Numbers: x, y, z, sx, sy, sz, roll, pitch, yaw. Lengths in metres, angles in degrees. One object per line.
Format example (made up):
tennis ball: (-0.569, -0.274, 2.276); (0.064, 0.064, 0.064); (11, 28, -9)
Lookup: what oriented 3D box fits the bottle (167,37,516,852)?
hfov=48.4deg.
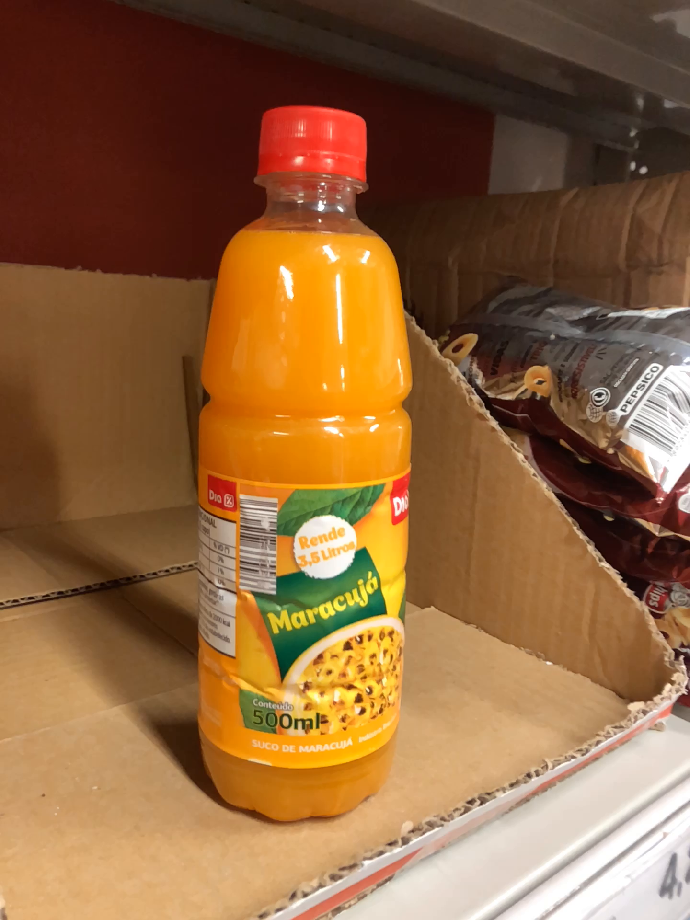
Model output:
bottle: (-0.009, -0.003, 0.231); (0.070, 0.199, 0.070); (3, 12, -1)
